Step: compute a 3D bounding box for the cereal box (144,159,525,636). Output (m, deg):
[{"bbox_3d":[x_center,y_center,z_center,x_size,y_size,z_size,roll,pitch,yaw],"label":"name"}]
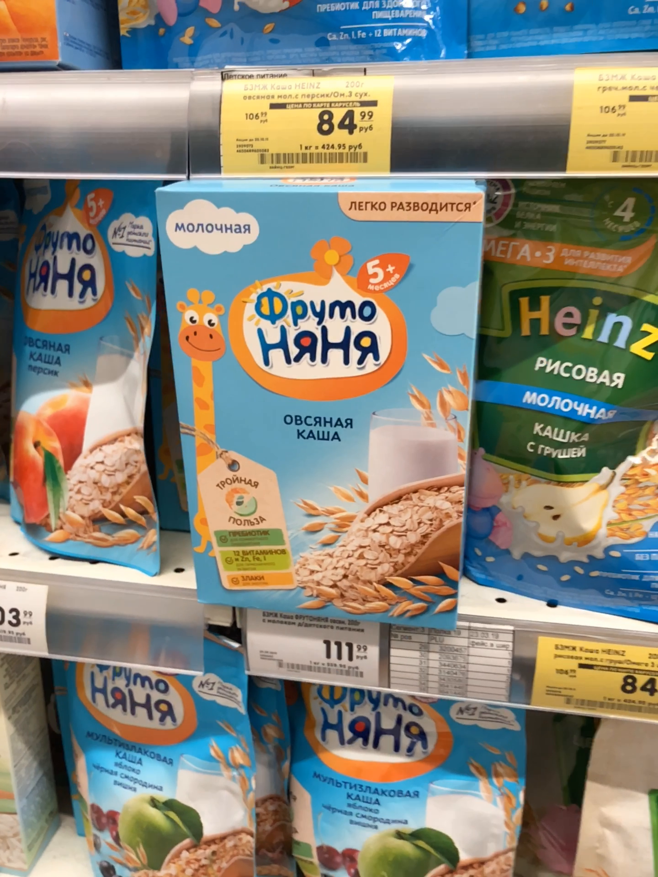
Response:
[{"bbox_3d":[0.005,-0.016,0.326,0.140,0.199,0.050,3,24,10],"label":"cereal box"}]
